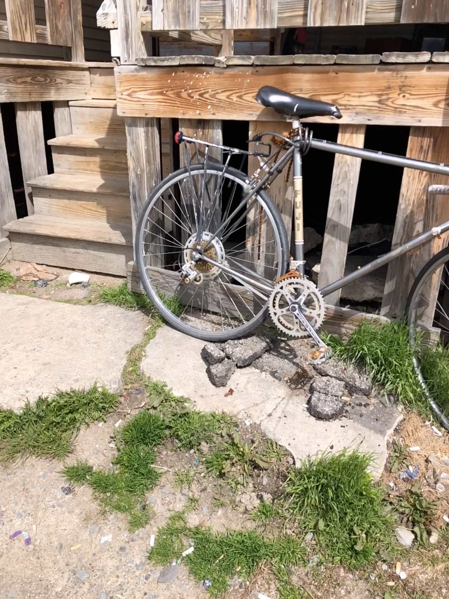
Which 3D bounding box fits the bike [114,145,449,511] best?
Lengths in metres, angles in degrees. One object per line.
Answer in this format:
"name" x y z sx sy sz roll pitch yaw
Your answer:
"bike" 0.263 -0.078 1.265 1.202 0.478 0.400 19 28 33
